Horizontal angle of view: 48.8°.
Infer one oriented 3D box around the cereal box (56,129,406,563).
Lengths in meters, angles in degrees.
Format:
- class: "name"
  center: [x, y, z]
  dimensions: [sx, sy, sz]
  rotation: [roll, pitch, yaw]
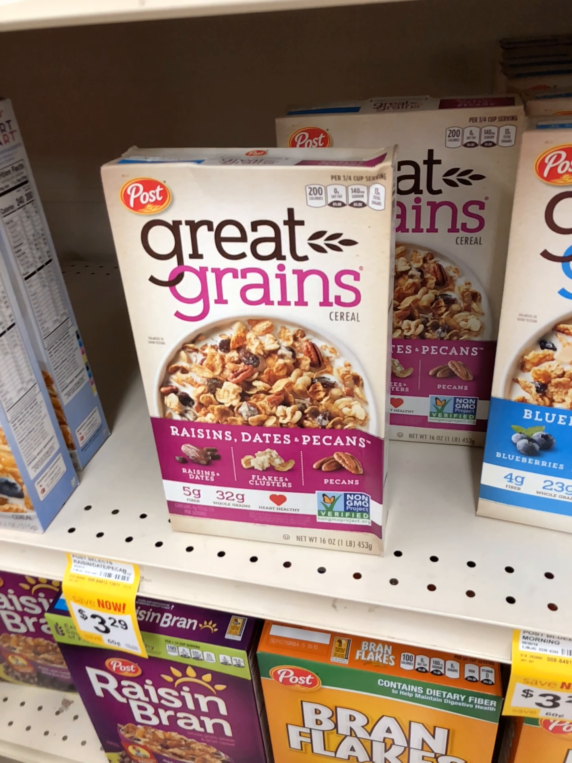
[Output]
- class: "cereal box"
  center: [-0.018, -0.008, 0.392]
  dimensions: [0.170, 0.269, 0.050]
  rotation: [4, 34, 12]
